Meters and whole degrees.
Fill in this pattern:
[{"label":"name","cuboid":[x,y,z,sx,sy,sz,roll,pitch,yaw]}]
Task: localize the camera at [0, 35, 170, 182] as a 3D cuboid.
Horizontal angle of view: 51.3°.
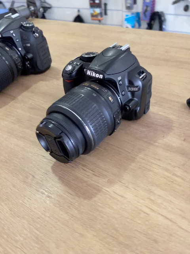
[{"label":"camera","cuboid":[0.000,-0.045,0.276,0.130,0.089,0.181,22,49,29]}]
